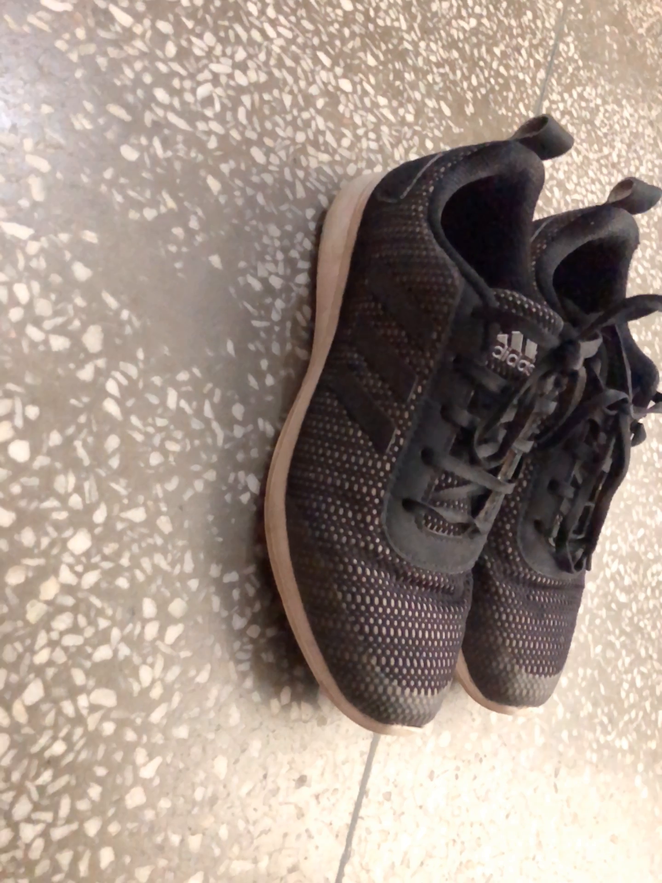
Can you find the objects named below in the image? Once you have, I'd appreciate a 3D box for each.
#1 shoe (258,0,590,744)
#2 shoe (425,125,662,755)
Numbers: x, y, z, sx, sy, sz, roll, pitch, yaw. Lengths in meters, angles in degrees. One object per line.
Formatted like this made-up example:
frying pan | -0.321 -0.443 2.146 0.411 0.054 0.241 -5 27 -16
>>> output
shoe | 0.046 -0.026 0.318 0.100 0.080 0.280 17 71 -38
shoe | 0.119 0.002 0.361 0.100 0.080 0.270 19 69 -37
